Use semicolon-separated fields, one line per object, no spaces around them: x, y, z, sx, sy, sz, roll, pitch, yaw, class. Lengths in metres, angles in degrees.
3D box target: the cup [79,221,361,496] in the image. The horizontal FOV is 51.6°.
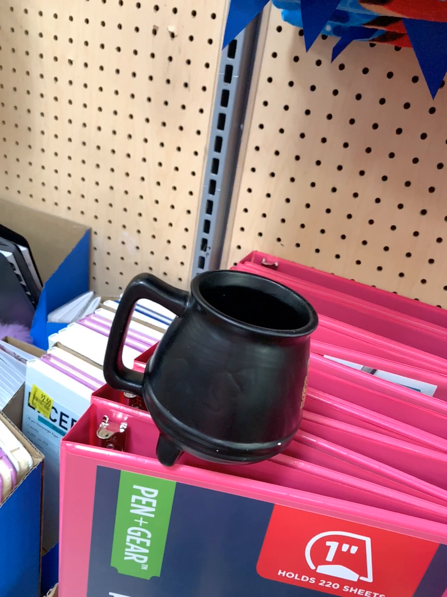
-0.002;0.027;0.266;0.122;0.093;0.097;13;27;2;cup
